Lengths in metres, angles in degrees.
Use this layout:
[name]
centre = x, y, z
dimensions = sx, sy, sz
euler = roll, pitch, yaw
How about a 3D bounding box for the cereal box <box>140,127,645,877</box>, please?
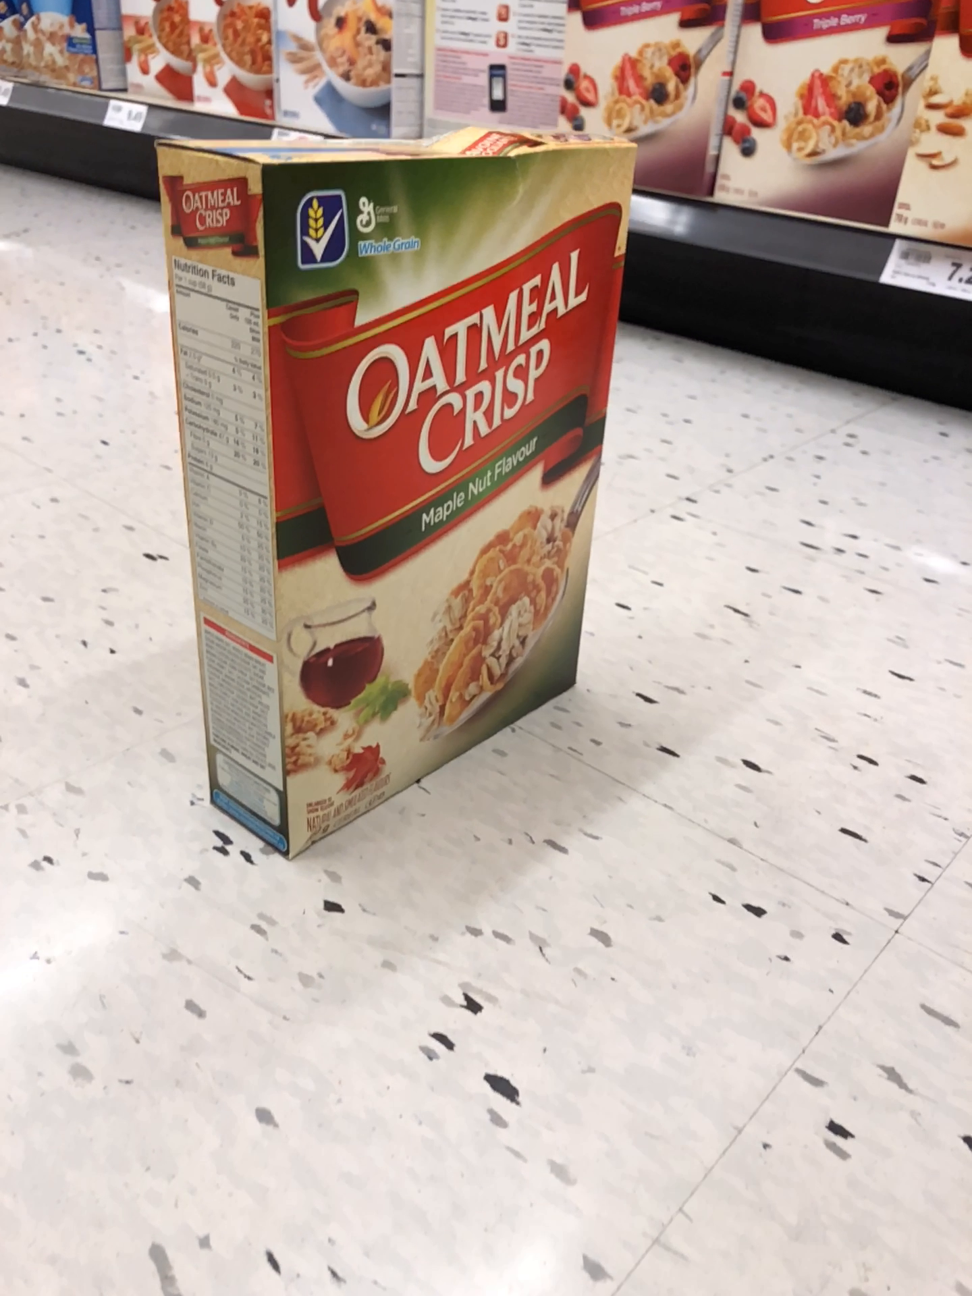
[cereal box]
centre = -0.029, -0.066, 0.439
dimensions = 0.050, 0.258, 0.201
euler = 25, 35, 32
